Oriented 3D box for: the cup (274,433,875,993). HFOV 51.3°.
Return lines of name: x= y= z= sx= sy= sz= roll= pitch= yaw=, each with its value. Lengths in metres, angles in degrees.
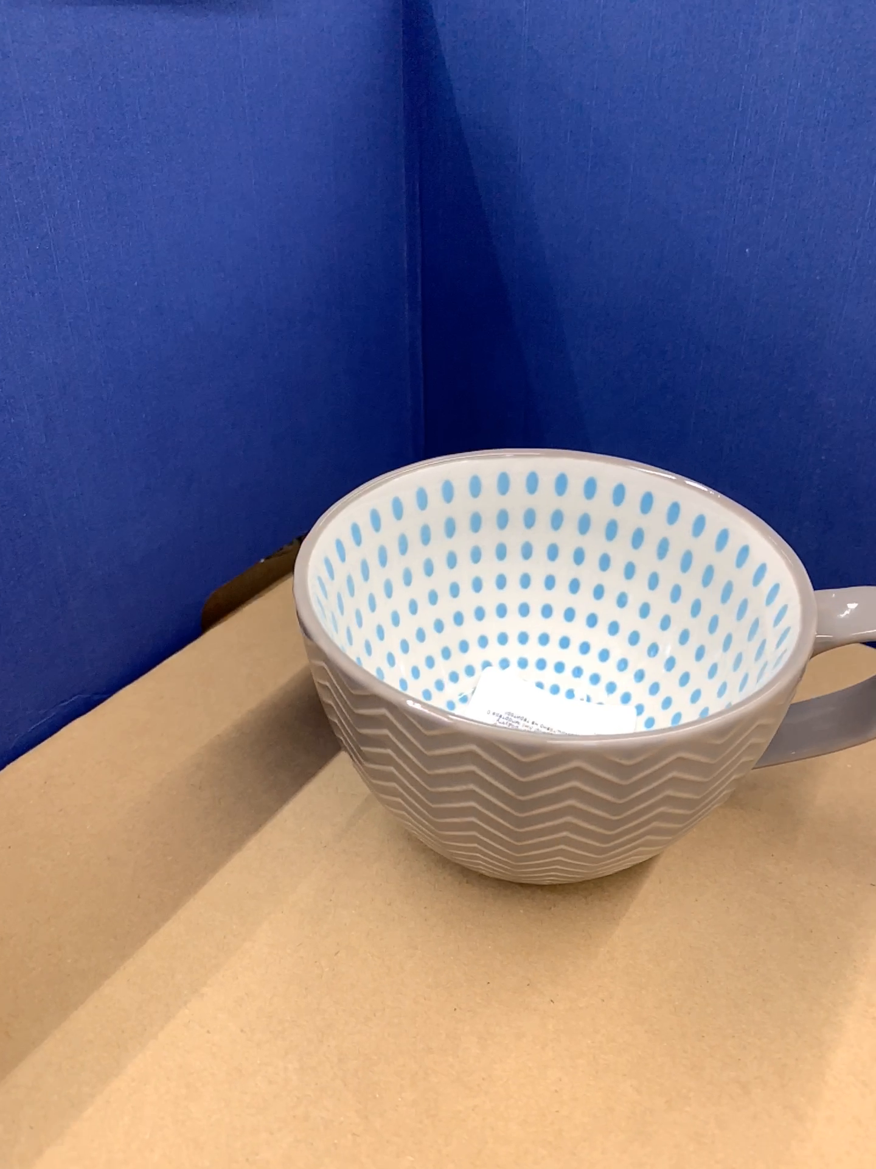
cup: x=0.042 y=0.019 z=0.214 sx=0.143 sy=0.061 sz=0.119 roll=-2 pitch=33 yaw=-3
